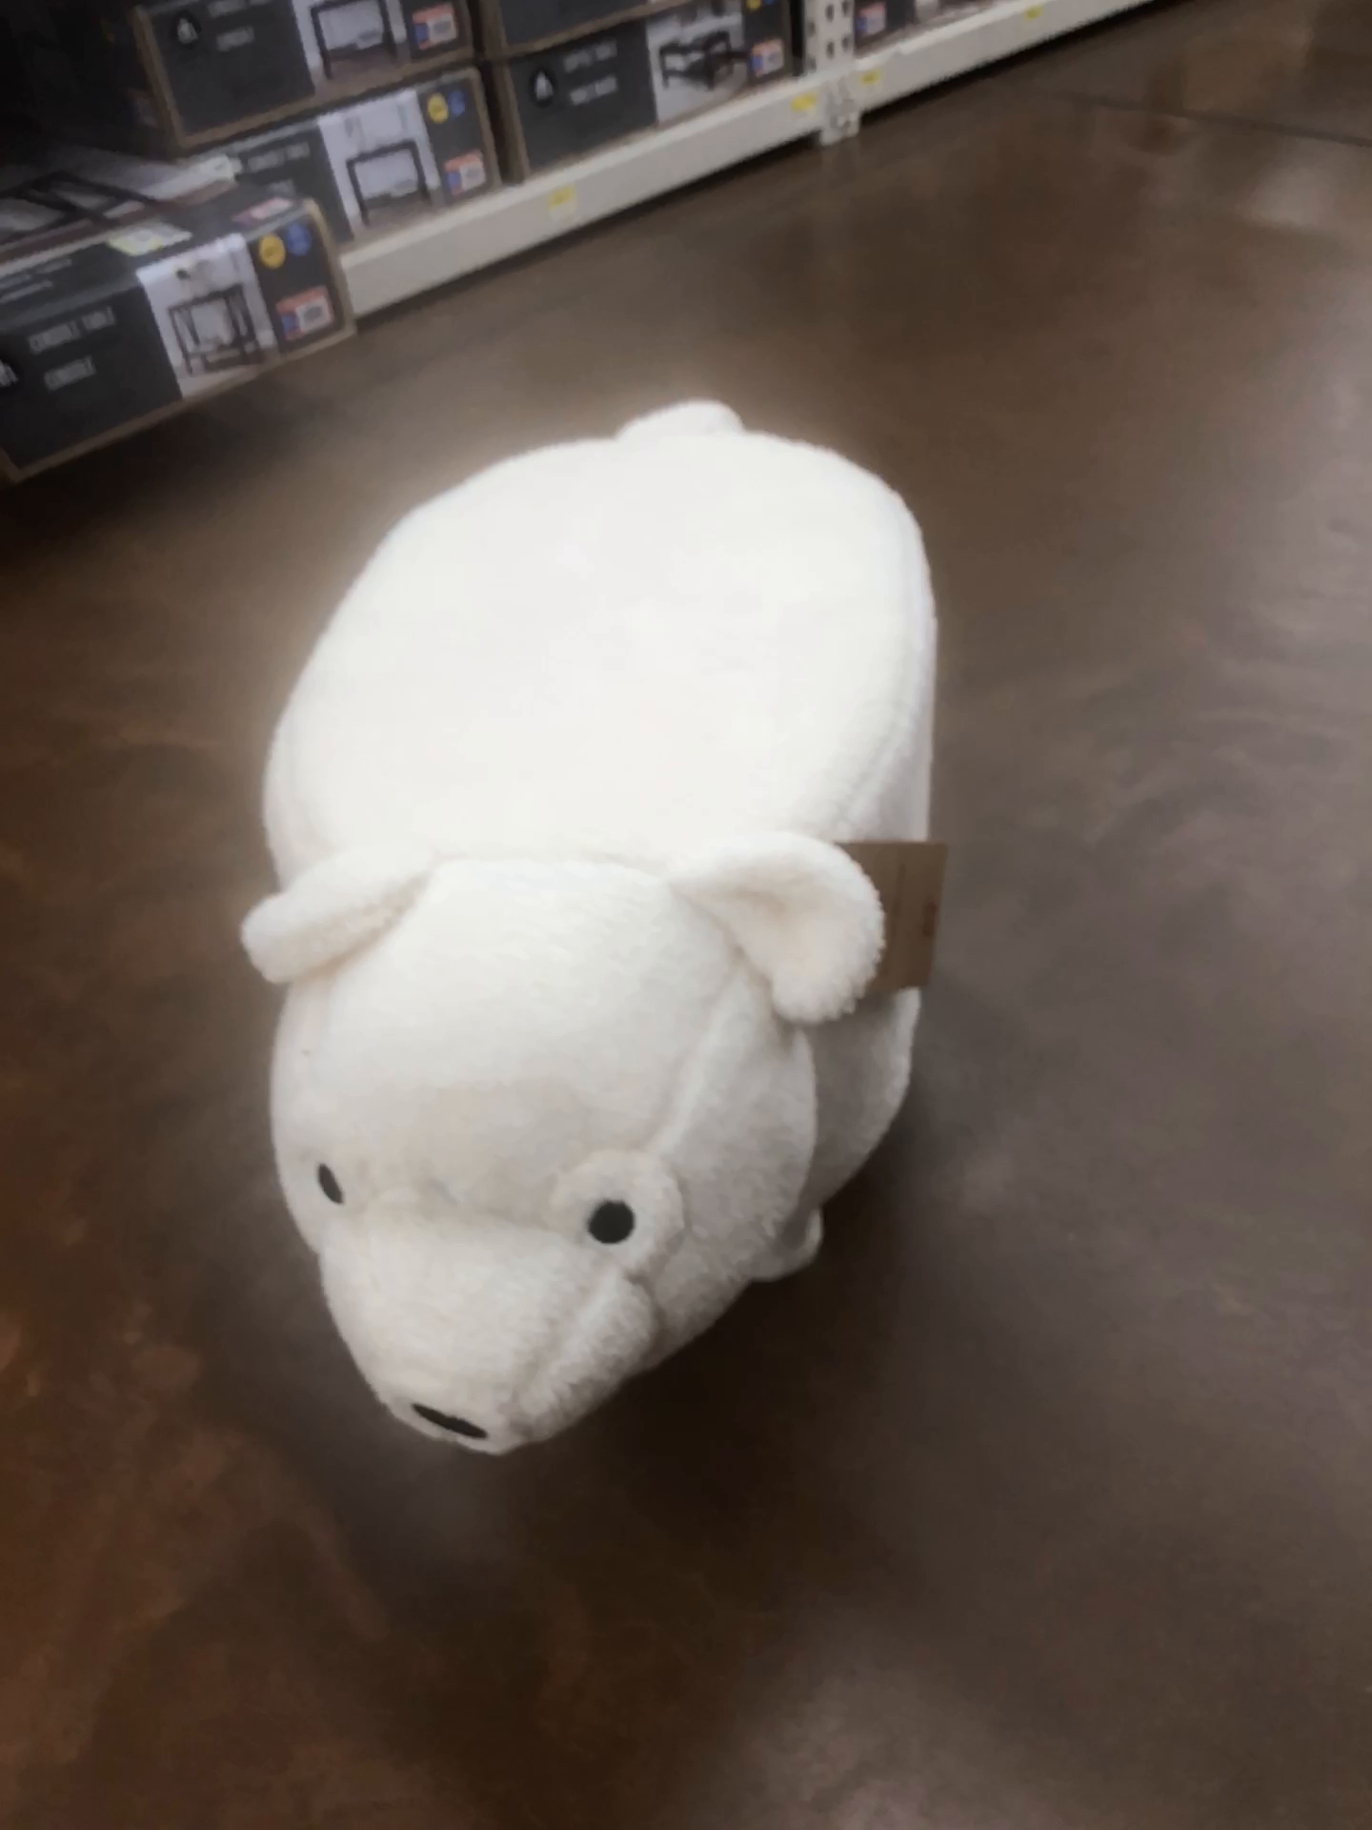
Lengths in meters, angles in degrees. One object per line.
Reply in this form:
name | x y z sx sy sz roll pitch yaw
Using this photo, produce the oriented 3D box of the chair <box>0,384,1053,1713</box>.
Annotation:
chair | -0.042 0.006 0.853 0.440 0.349 0.632 4 42 12
